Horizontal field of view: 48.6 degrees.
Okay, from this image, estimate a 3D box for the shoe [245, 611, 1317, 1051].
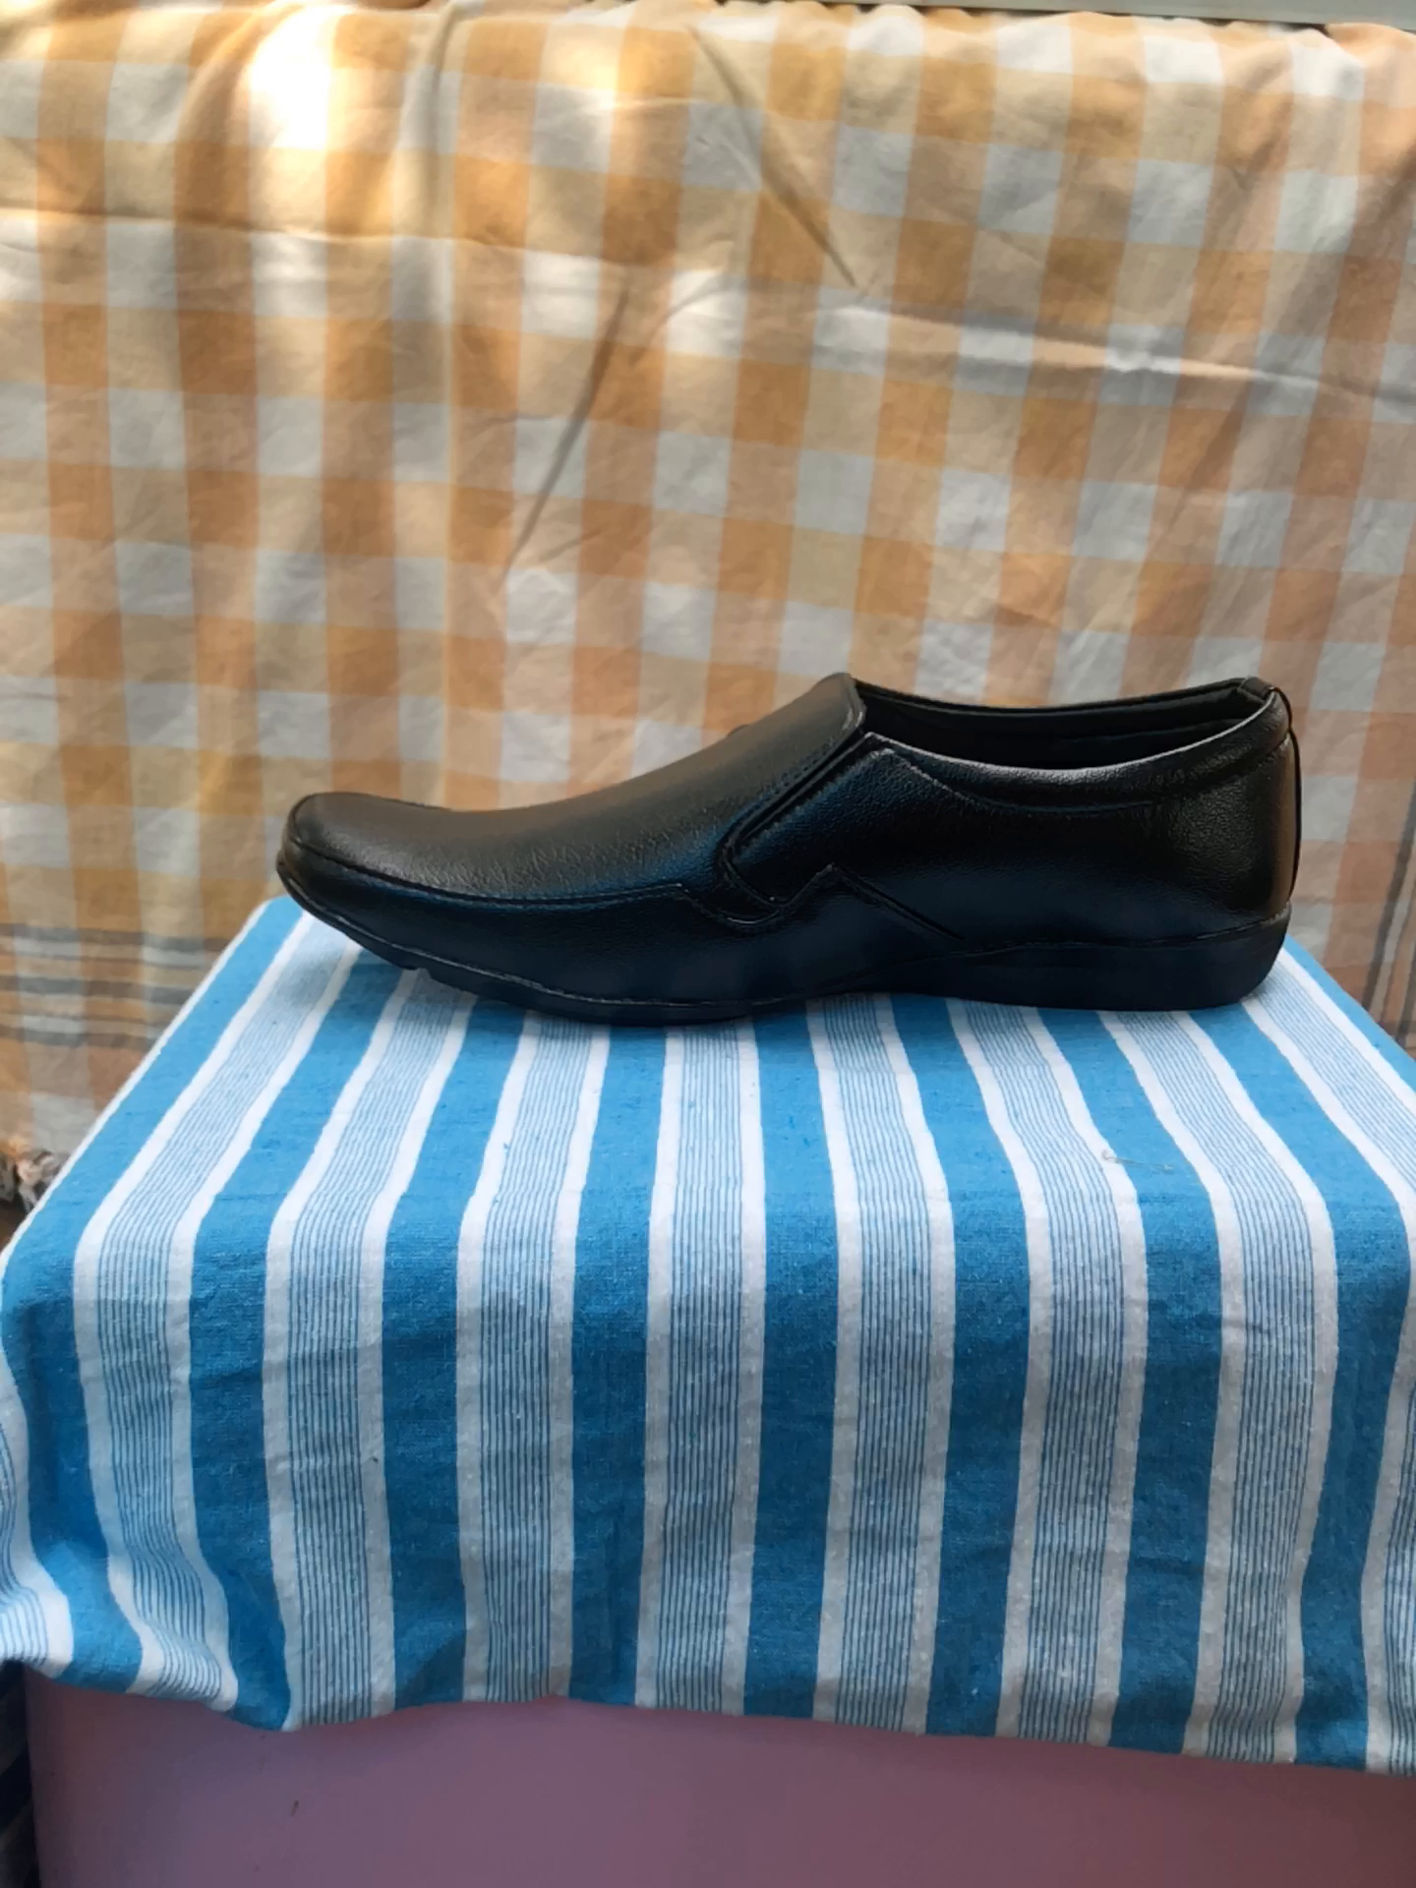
[{"bbox_3d":[0.019,-0.040,0.498,0.300,0.110,0.100,-1,20,-7],"label":"shoe"}]
